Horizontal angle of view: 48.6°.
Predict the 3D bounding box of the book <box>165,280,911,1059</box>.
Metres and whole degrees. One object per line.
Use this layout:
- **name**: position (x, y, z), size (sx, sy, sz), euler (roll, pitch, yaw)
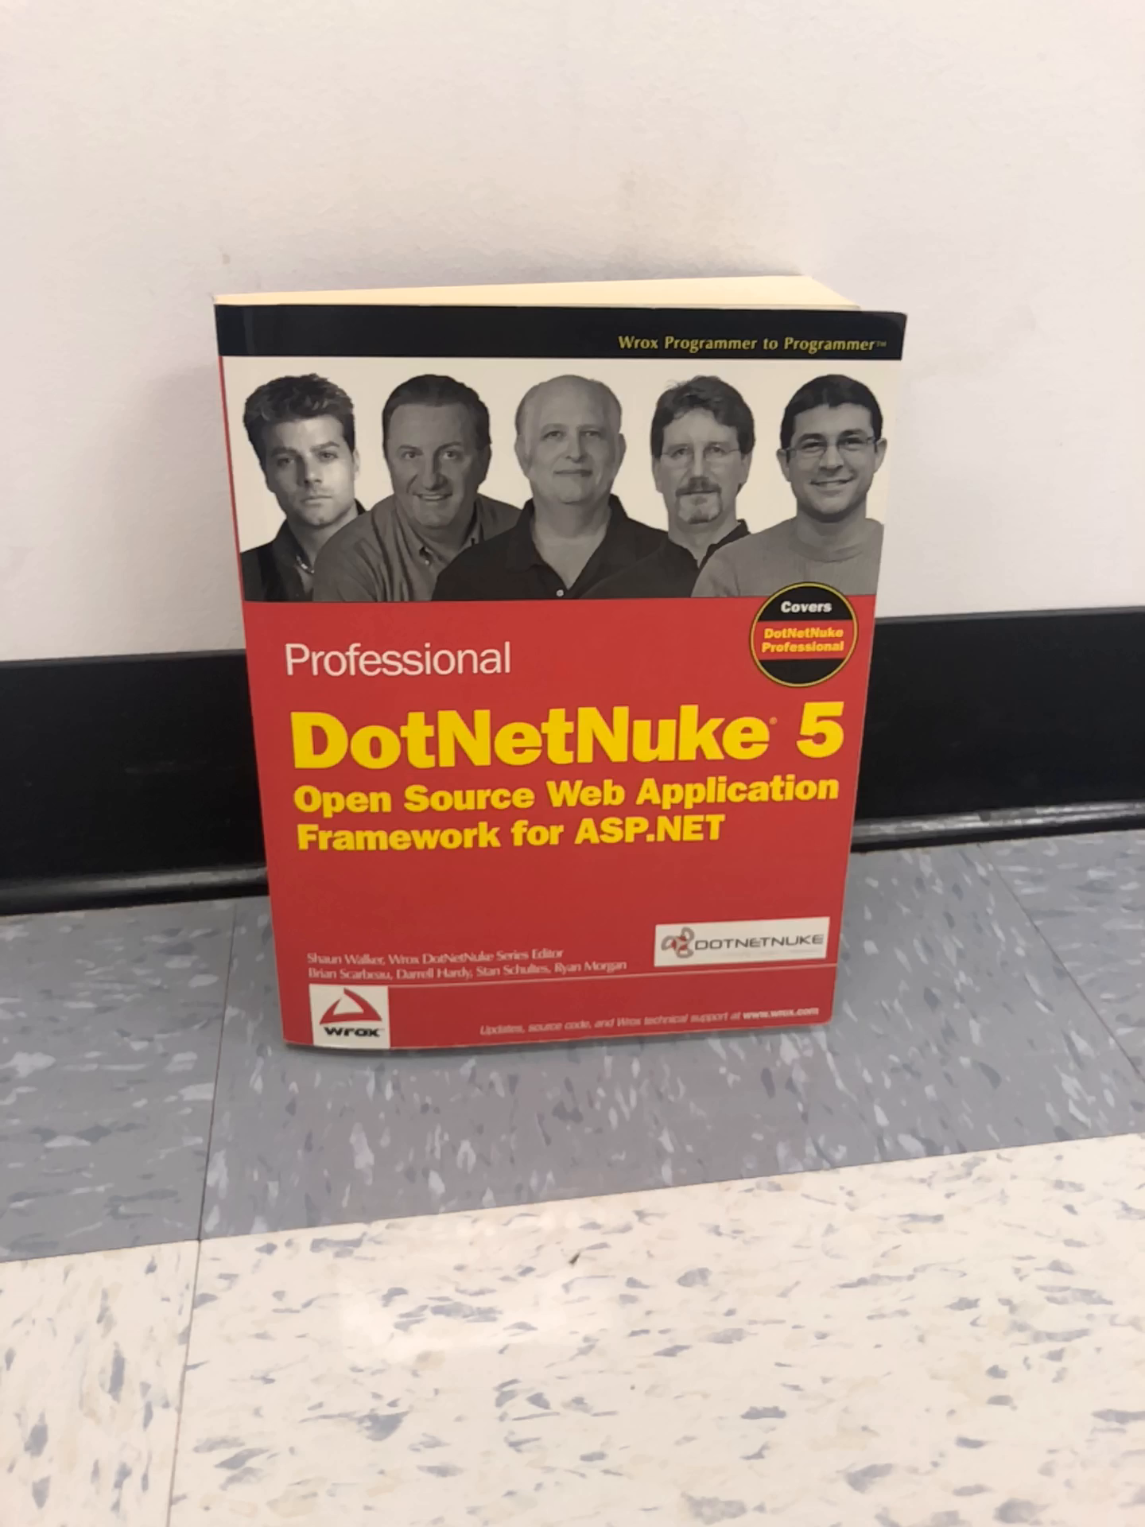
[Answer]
- **book**: position (-0.011, -0.029, 0.428), size (0.210, 0.249, 0.060), euler (-1, 21, -5)
